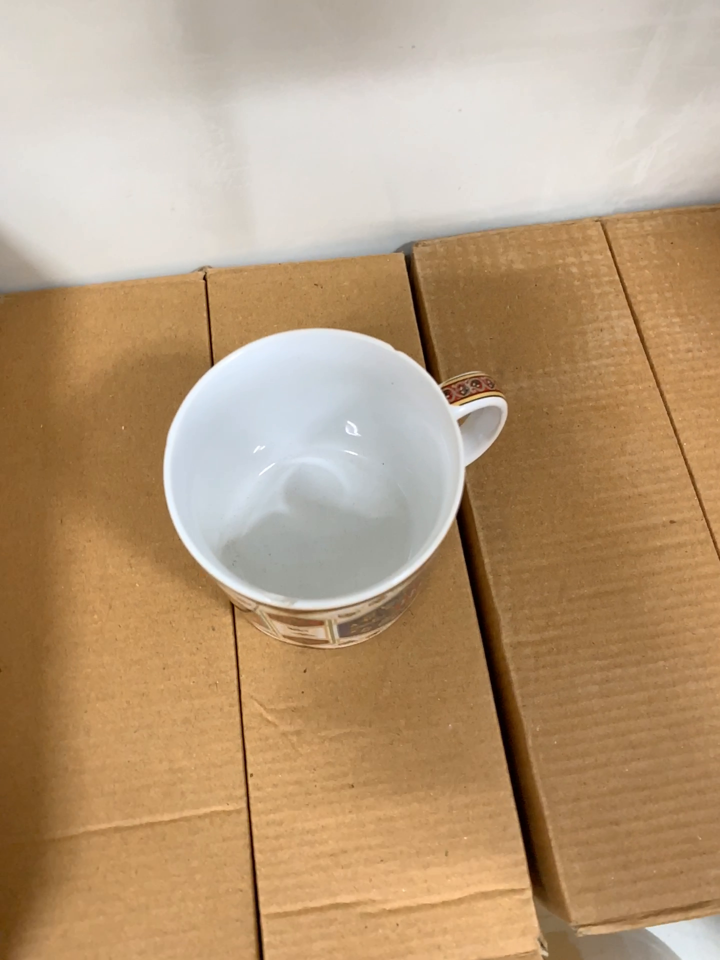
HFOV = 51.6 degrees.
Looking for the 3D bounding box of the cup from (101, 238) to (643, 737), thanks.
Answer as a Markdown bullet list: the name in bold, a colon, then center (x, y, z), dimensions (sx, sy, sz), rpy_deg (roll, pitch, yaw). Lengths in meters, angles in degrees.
- **cup**: center (0.002, 0.005, 0.208), dimensions (0.100, 0.070, 0.080), rpy_deg (-33, 73, -14)
